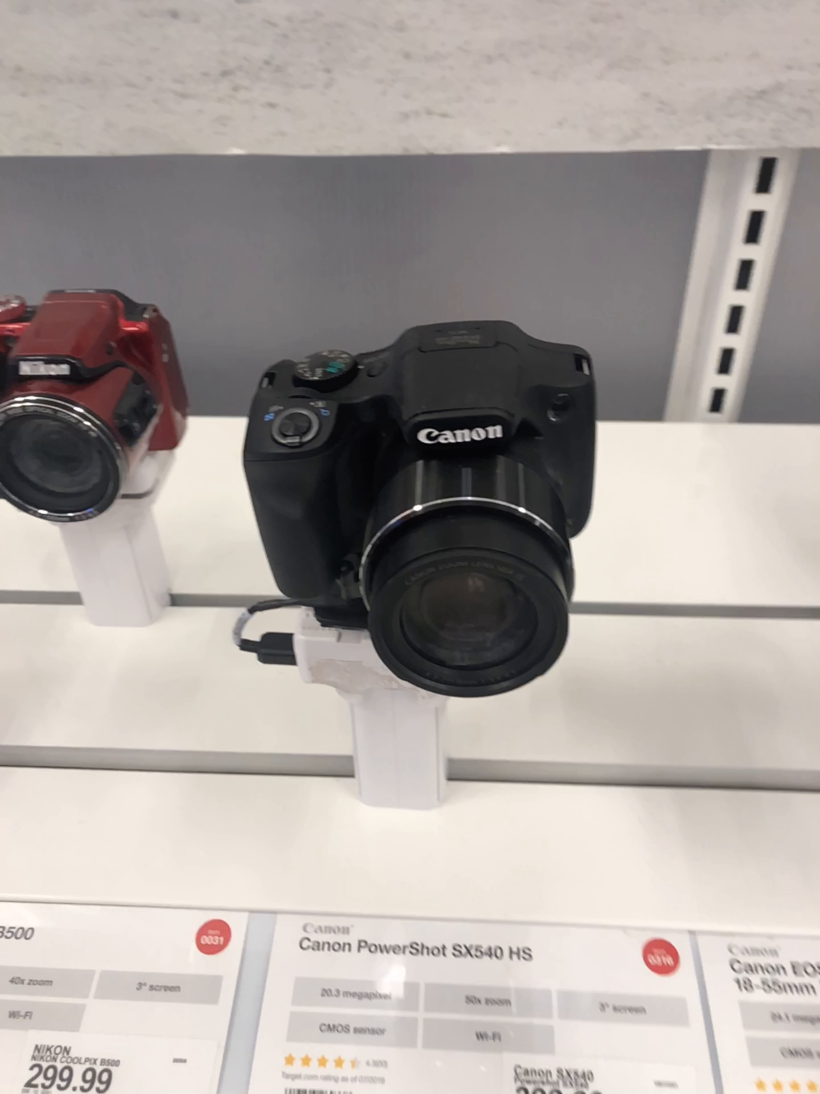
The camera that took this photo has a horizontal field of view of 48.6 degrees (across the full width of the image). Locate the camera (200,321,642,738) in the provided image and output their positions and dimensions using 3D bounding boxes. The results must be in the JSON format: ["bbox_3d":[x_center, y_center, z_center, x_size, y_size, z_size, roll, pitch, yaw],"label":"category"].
[{"bbox_3d":[0.003,-0.008,0.268,0.100,0.076,0.099,-1,40,1],"label":"camera"}]
